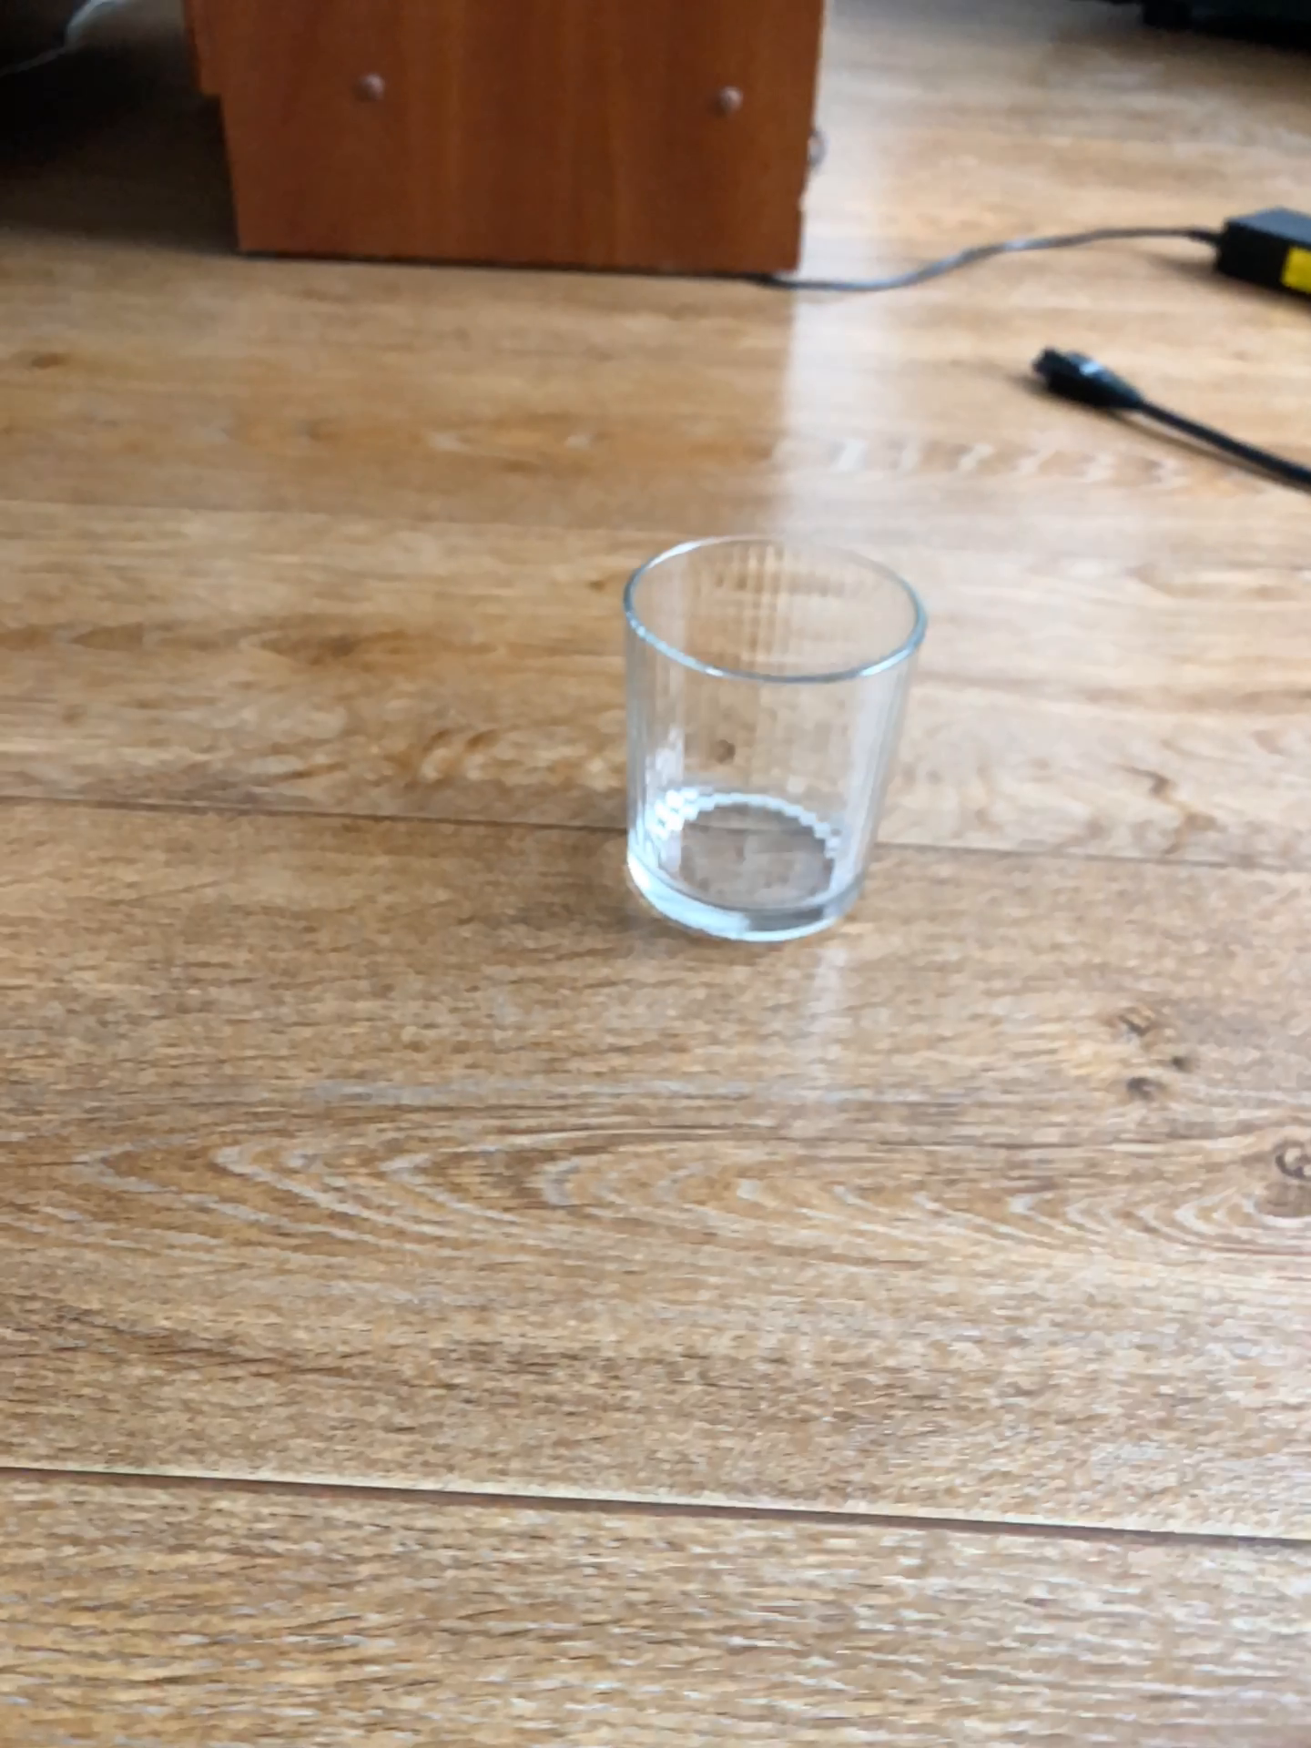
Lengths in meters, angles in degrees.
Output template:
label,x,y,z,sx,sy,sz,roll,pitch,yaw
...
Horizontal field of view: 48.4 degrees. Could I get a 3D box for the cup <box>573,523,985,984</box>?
label,x,y,z,sx,sy,sz,roll,pitch,yaw
cup,0.026,-0.034,0.377,0.075,0.079,0.078,2,38,-1
